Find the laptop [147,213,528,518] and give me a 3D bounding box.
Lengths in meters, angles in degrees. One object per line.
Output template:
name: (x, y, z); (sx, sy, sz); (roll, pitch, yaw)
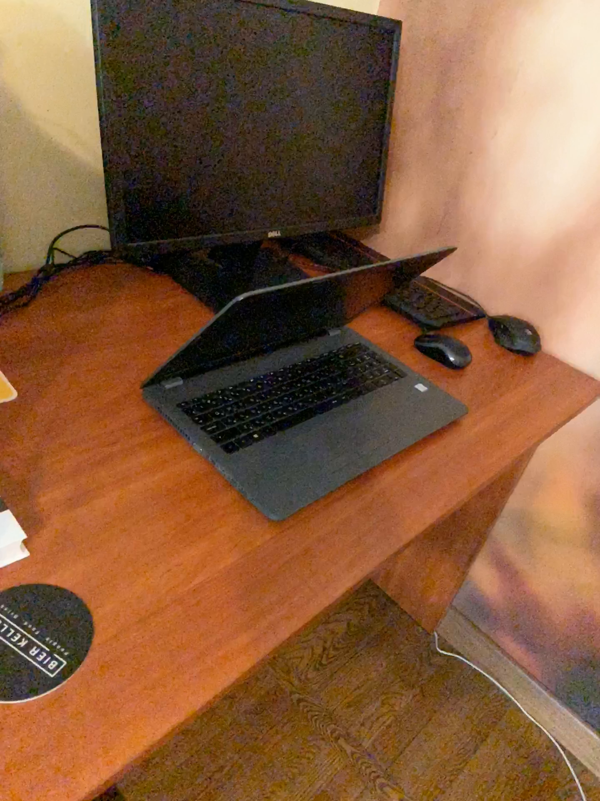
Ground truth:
laptop: (0.050, -0.077, 0.762); (0.387, 0.193, 0.245); (-22, 48, -41)
